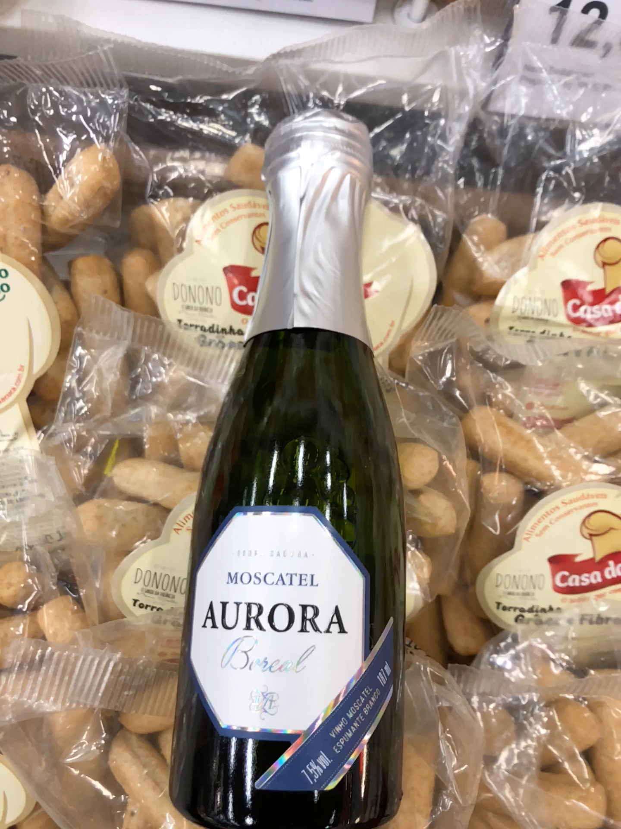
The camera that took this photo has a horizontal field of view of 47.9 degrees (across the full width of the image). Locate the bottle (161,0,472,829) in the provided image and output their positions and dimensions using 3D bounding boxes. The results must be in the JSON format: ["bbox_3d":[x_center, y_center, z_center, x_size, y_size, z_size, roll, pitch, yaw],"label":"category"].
[{"bbox_3d":[0.003,0.002,0.181,0.060,0.050,0.200,4,80,-6],"label":"bottle"}]
